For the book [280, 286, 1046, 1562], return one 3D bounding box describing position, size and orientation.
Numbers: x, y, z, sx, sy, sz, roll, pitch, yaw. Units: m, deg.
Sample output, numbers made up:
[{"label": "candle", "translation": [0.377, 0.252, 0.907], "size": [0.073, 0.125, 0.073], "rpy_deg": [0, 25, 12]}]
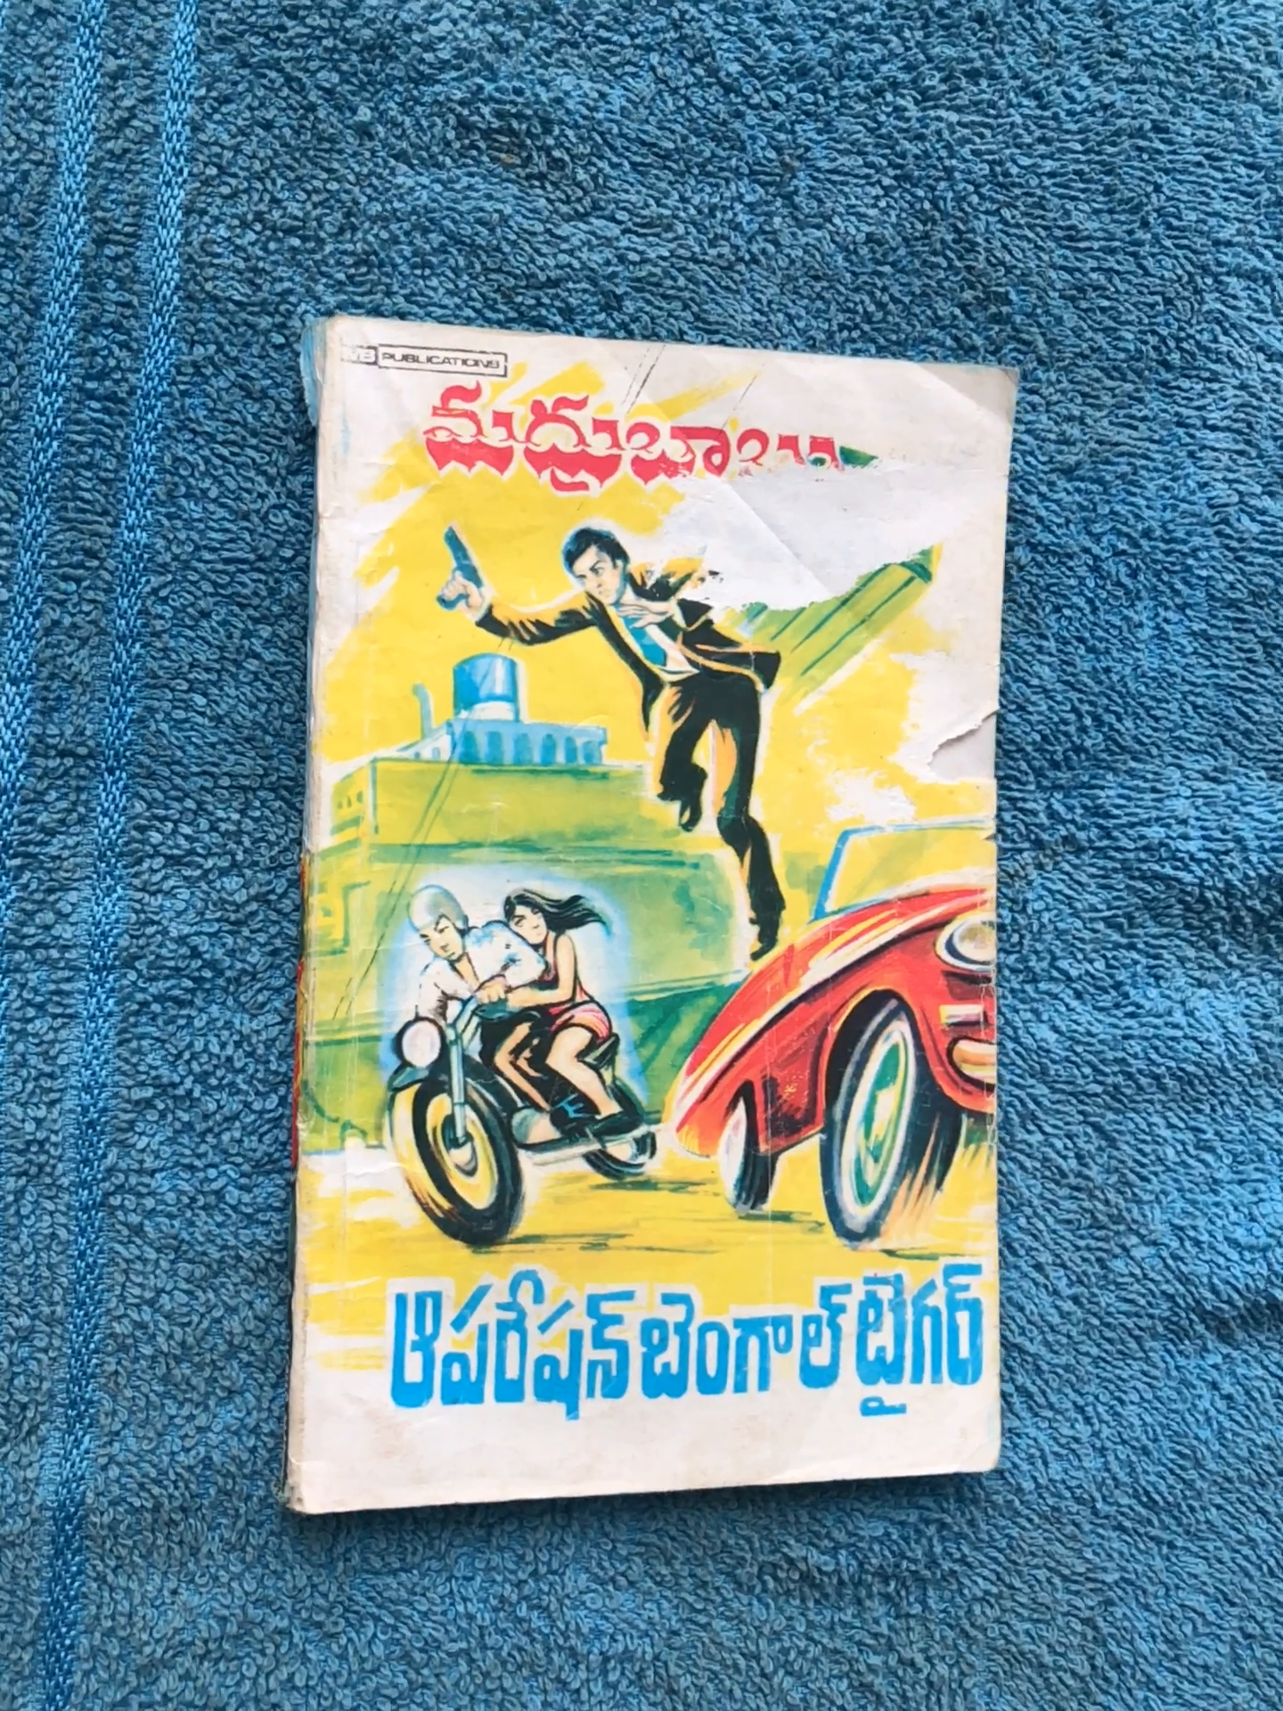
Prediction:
[{"label": "book", "translation": [0.005, 0.008, 0.201], "size": [0.100, 0.020, 0.160], "rpy_deg": [2, 84, -12]}]
